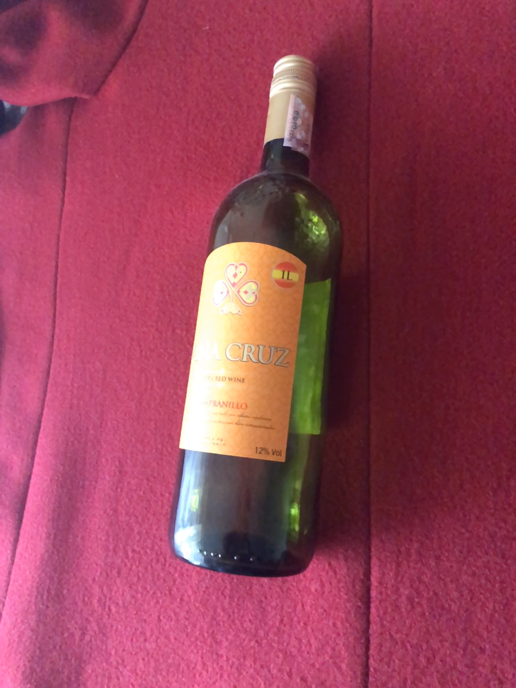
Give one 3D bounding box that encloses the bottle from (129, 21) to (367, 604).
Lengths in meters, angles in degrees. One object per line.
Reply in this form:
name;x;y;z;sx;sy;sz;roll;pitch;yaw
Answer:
bottle;0.002;-0.023;0.333;0.080;0.070;0.300;1;77;29
